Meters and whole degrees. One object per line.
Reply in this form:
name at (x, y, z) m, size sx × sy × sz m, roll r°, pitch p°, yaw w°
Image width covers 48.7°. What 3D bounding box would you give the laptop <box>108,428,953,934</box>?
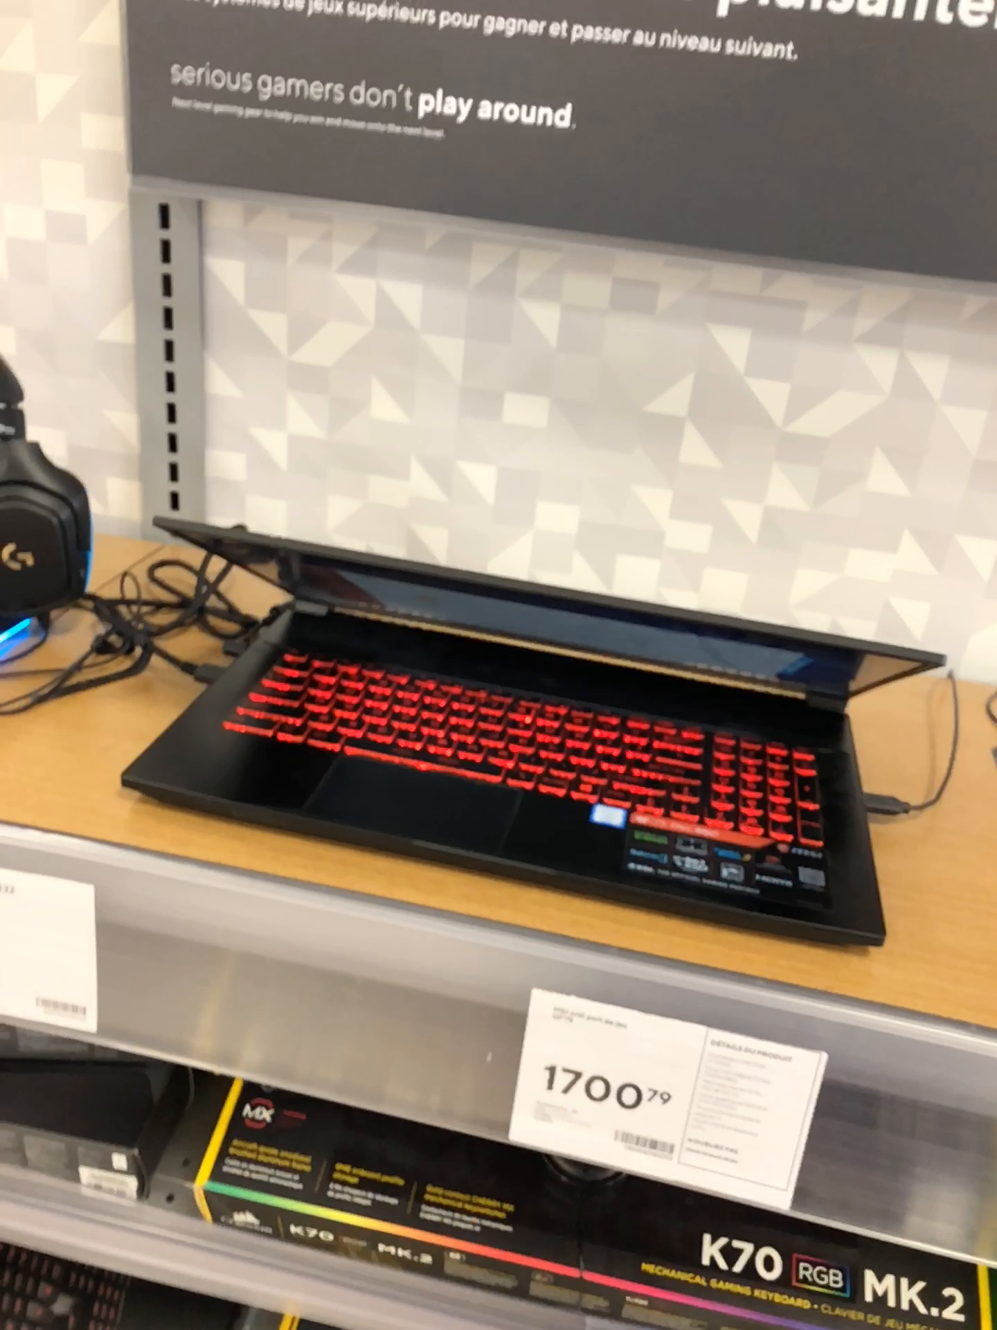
laptop at (0.023, -0.016, 0.641) m, size 0.393 × 0.133 × 0.249 m, roll 10°, pitch 27°, yaw 8°
